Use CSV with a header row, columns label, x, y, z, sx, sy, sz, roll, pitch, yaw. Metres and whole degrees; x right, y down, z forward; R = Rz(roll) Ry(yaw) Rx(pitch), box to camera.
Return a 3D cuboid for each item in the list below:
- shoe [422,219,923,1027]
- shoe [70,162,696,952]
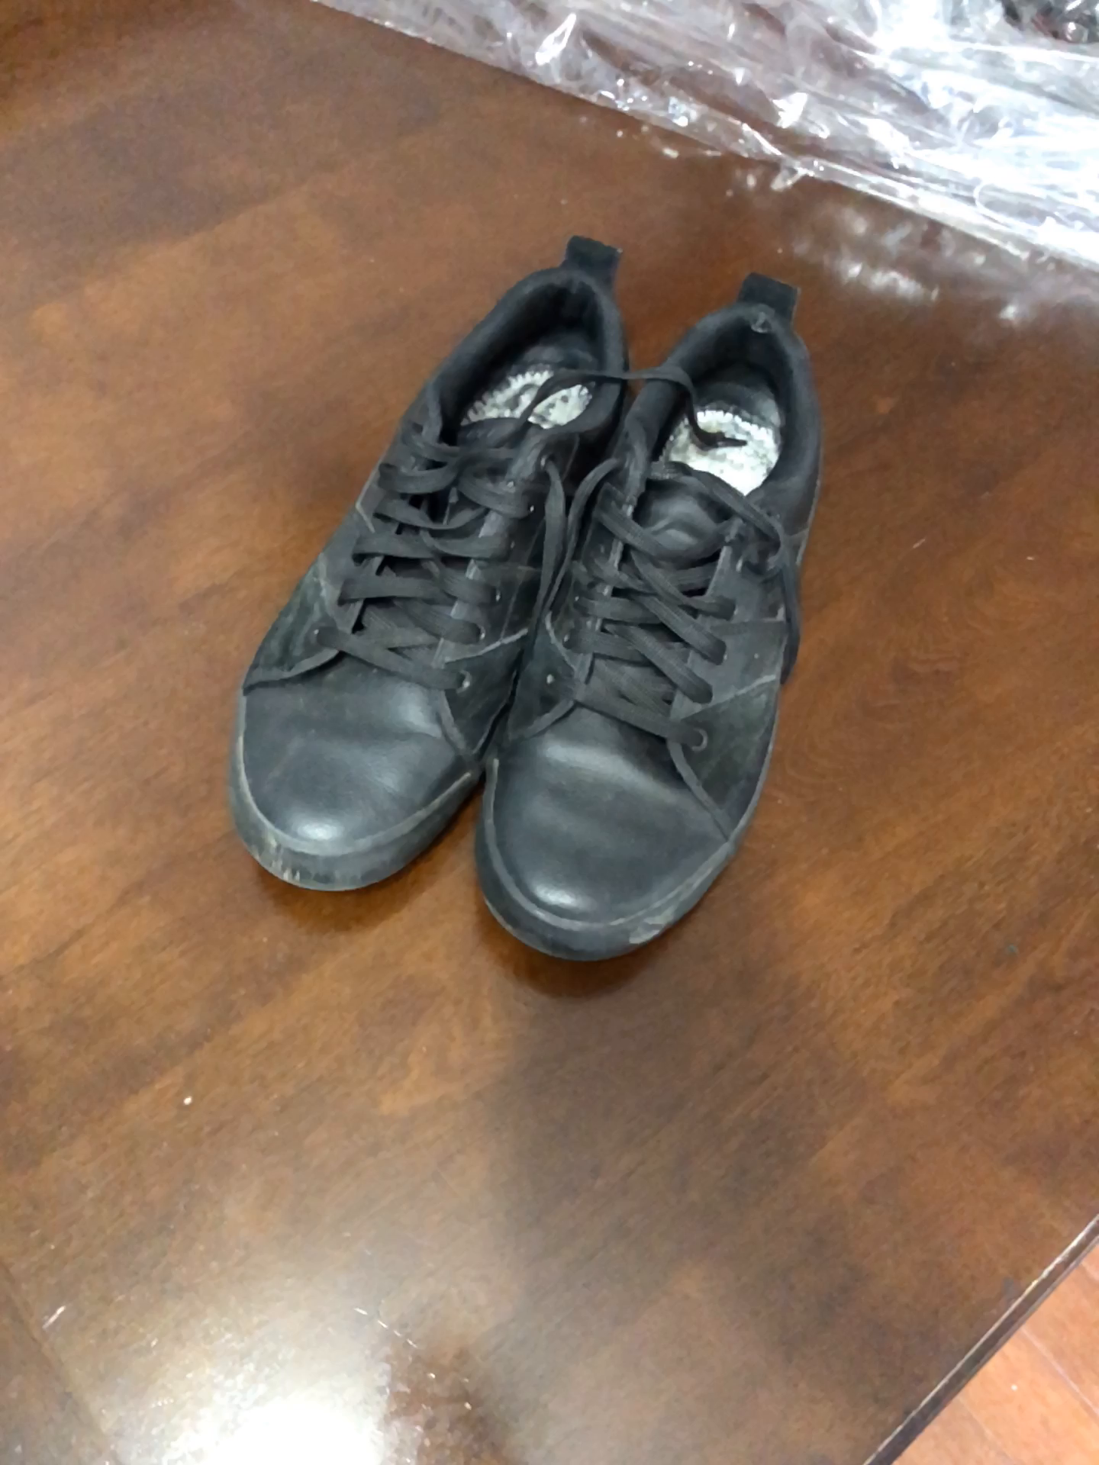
label,x,y,z,sx,sy,sz,roll,pitch,yaw
shoe,0.055,-0.053,0.499,0.110,0.110,0.300,18,63,5
shoe,-0.050,-0.081,0.504,0.110,0.110,0.300,22,63,7
